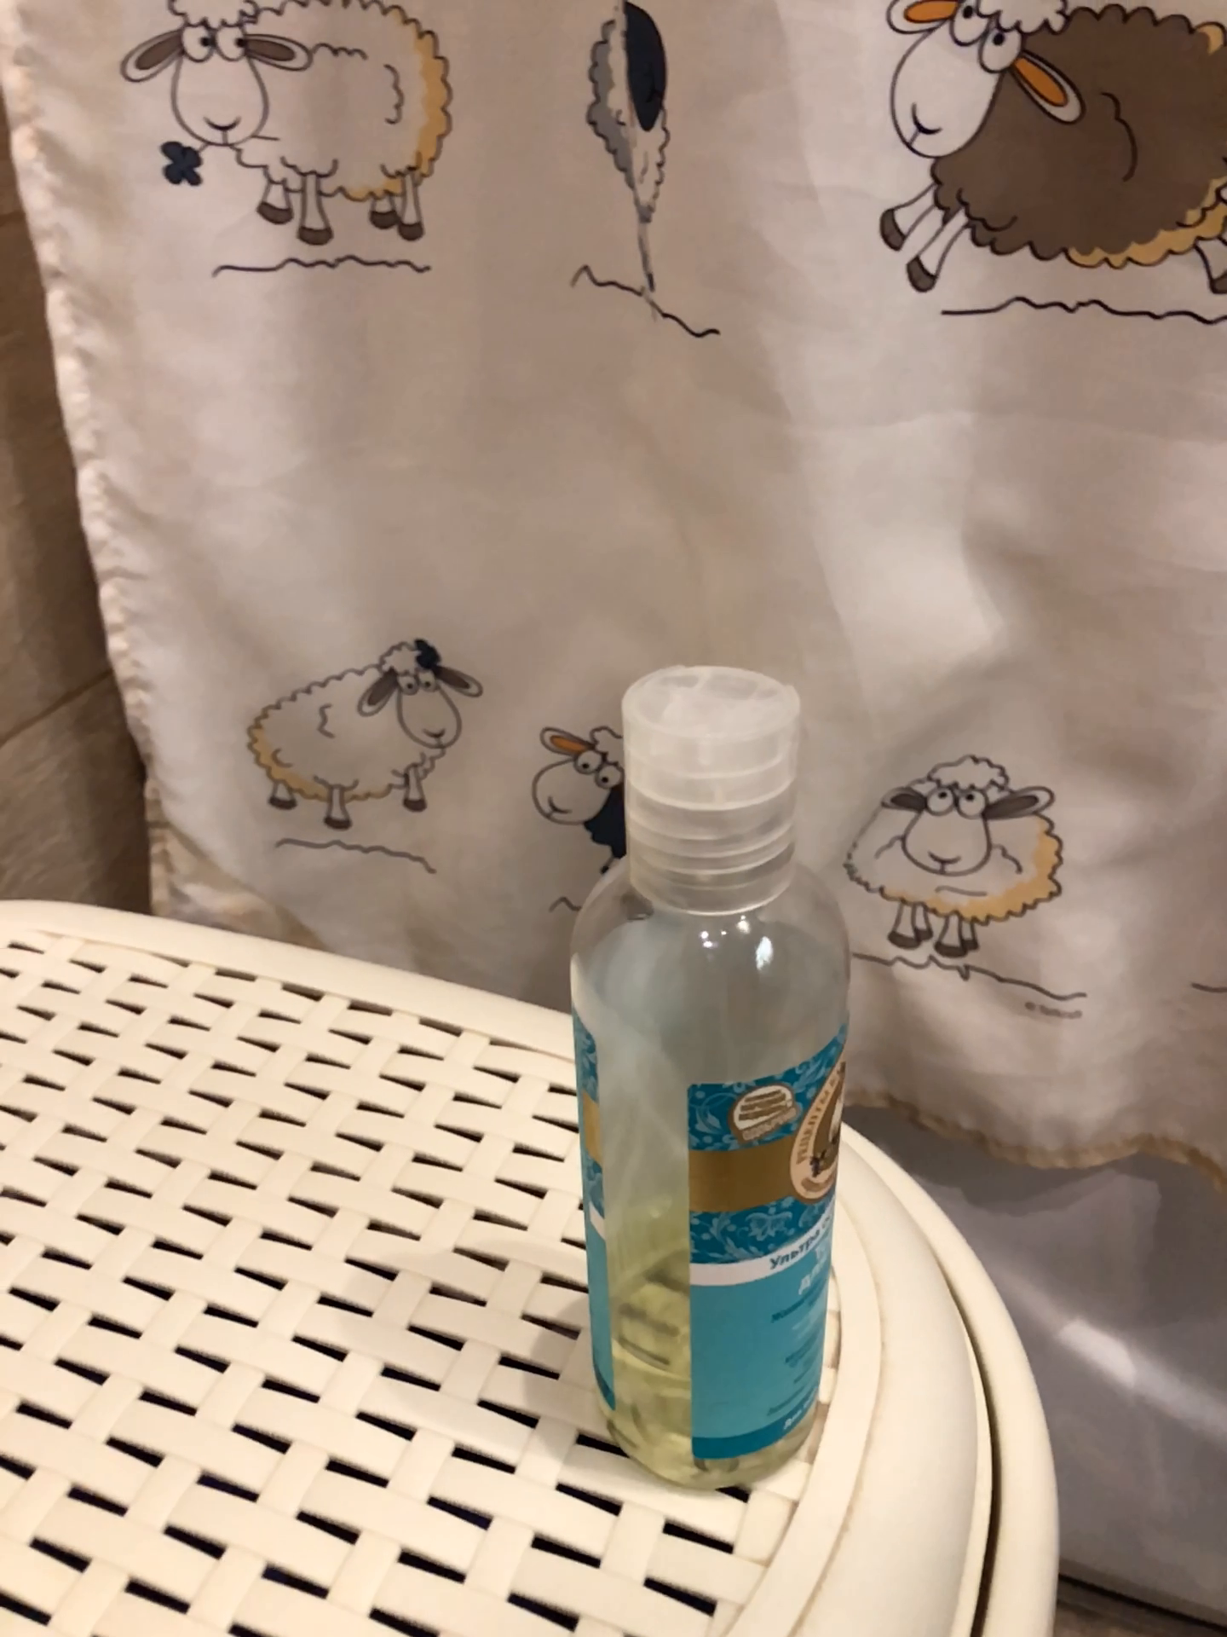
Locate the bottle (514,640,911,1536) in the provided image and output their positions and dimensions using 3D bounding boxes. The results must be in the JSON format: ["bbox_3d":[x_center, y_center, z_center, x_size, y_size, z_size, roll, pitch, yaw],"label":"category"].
[{"bbox_3d":[0.017,0.052,0.235,0.045,0.153,0.046,0,32,0],"label":"bottle"}]
